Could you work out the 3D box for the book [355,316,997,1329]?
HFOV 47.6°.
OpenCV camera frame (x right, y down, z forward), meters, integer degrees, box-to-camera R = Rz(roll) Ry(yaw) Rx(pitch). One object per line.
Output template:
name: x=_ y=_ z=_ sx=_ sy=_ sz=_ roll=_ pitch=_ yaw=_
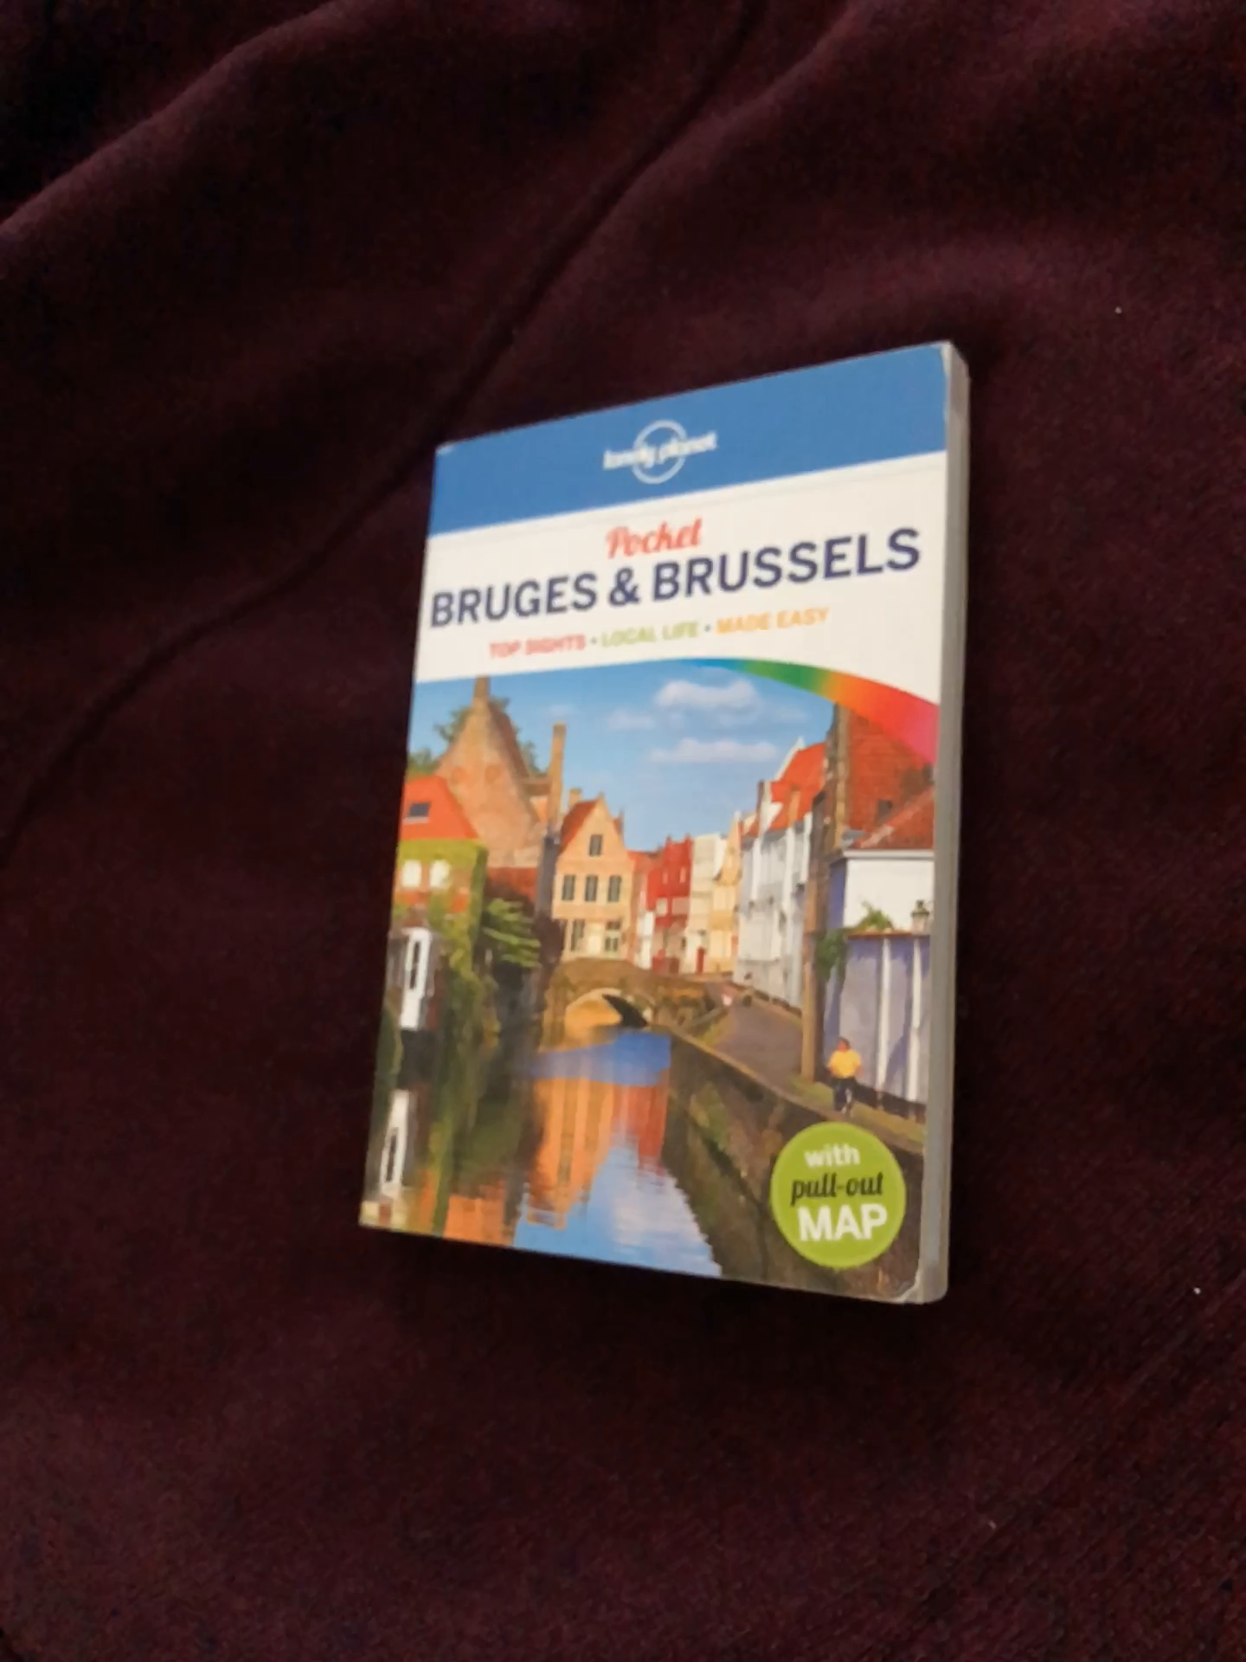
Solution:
book: x=0.007 y=-0.003 z=0.251 sx=0.110 sy=0.016 sz=0.158 roll=-2 pitch=78 yaw=31
